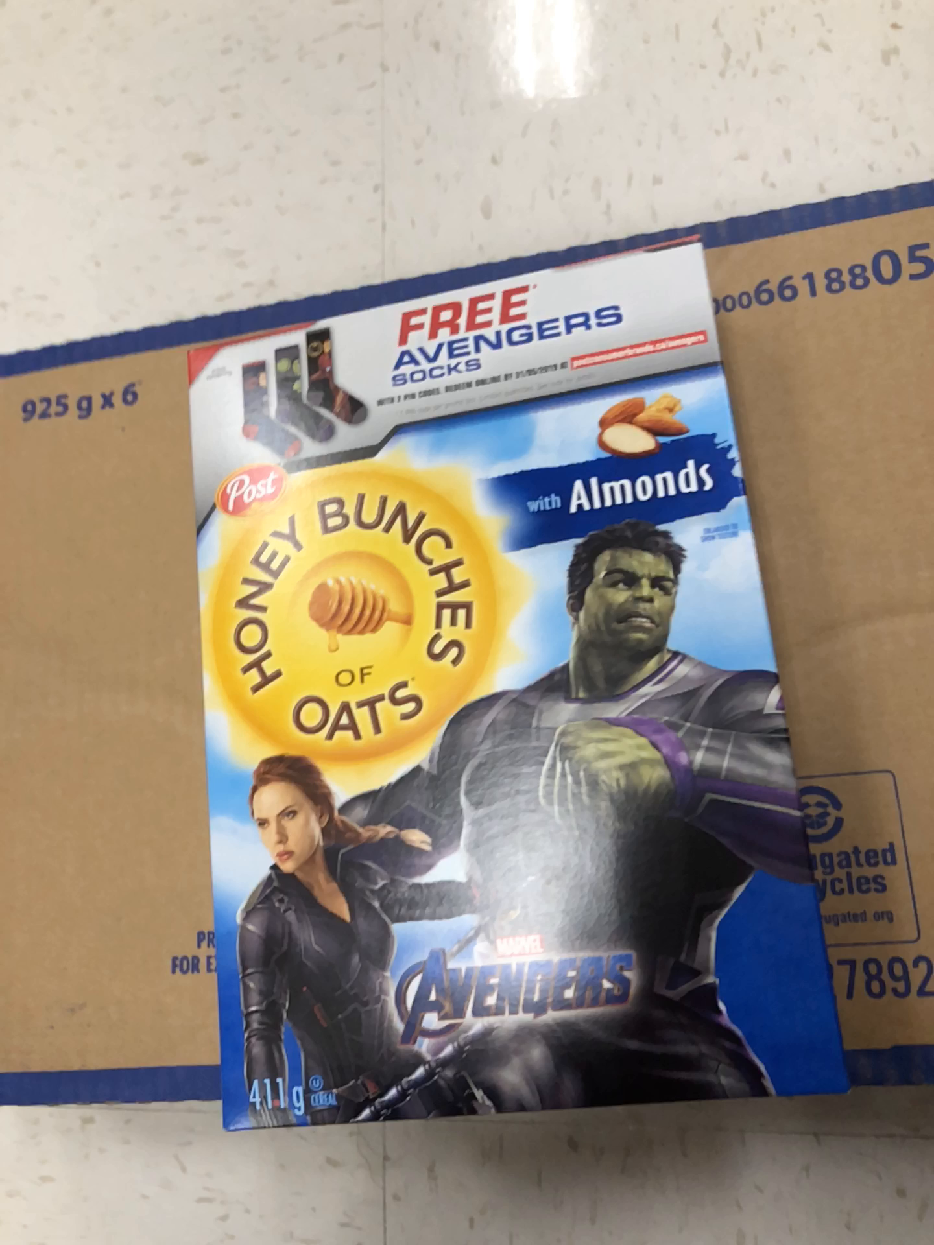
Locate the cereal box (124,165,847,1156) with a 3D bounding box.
[{"bbox_3d":[-0.004,0.013,0.361,0.200,0.070,0.290,-10,77,12],"label":"cereal box"}]
